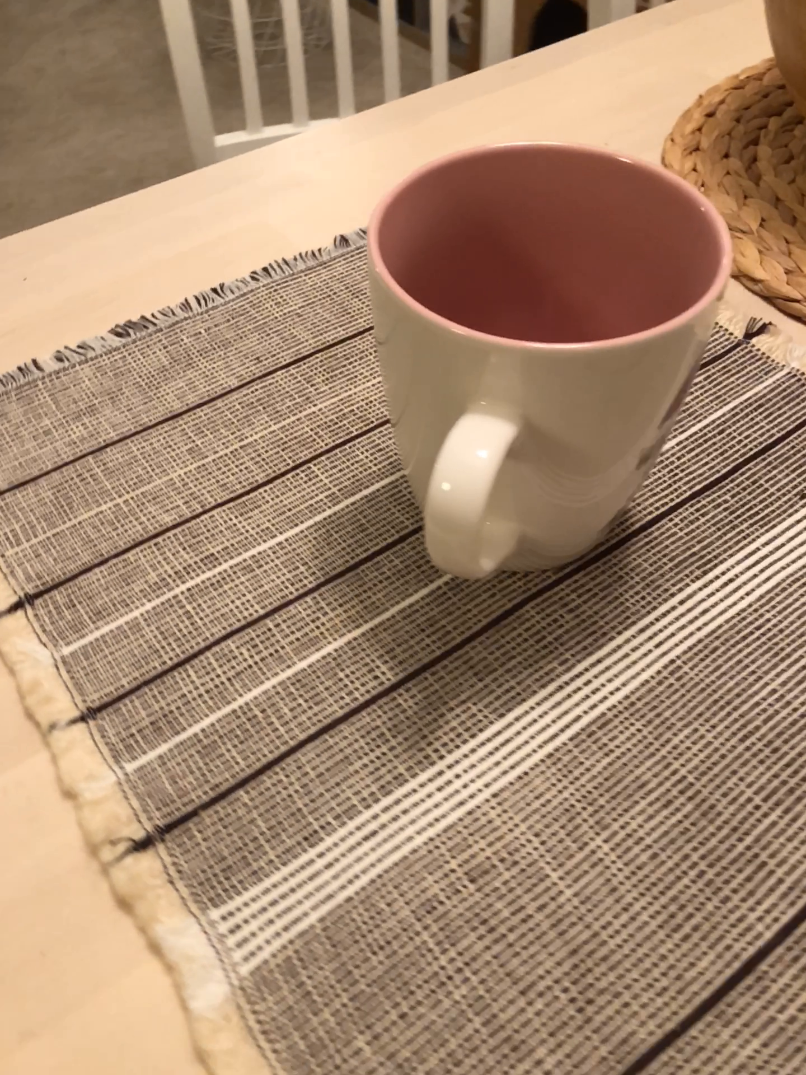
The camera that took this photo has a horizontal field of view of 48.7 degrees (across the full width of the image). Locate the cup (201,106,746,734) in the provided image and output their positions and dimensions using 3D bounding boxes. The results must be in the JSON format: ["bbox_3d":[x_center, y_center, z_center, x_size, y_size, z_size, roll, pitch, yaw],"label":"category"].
[{"bbox_3d":[0.033,-0.047,0.310,0.120,0.119,0.161,15,52,13],"label":"cup"}]
